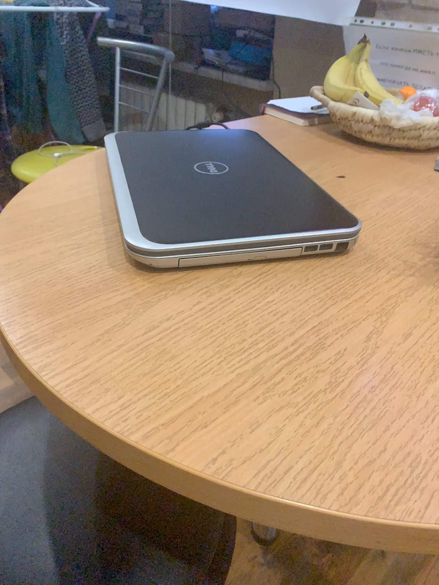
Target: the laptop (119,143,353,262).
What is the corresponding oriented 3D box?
[{"bbox_3d":[-0.010,-0.137,0.582,0.224,0.004,0.351,-7,34,-11],"label":"laptop"}]
